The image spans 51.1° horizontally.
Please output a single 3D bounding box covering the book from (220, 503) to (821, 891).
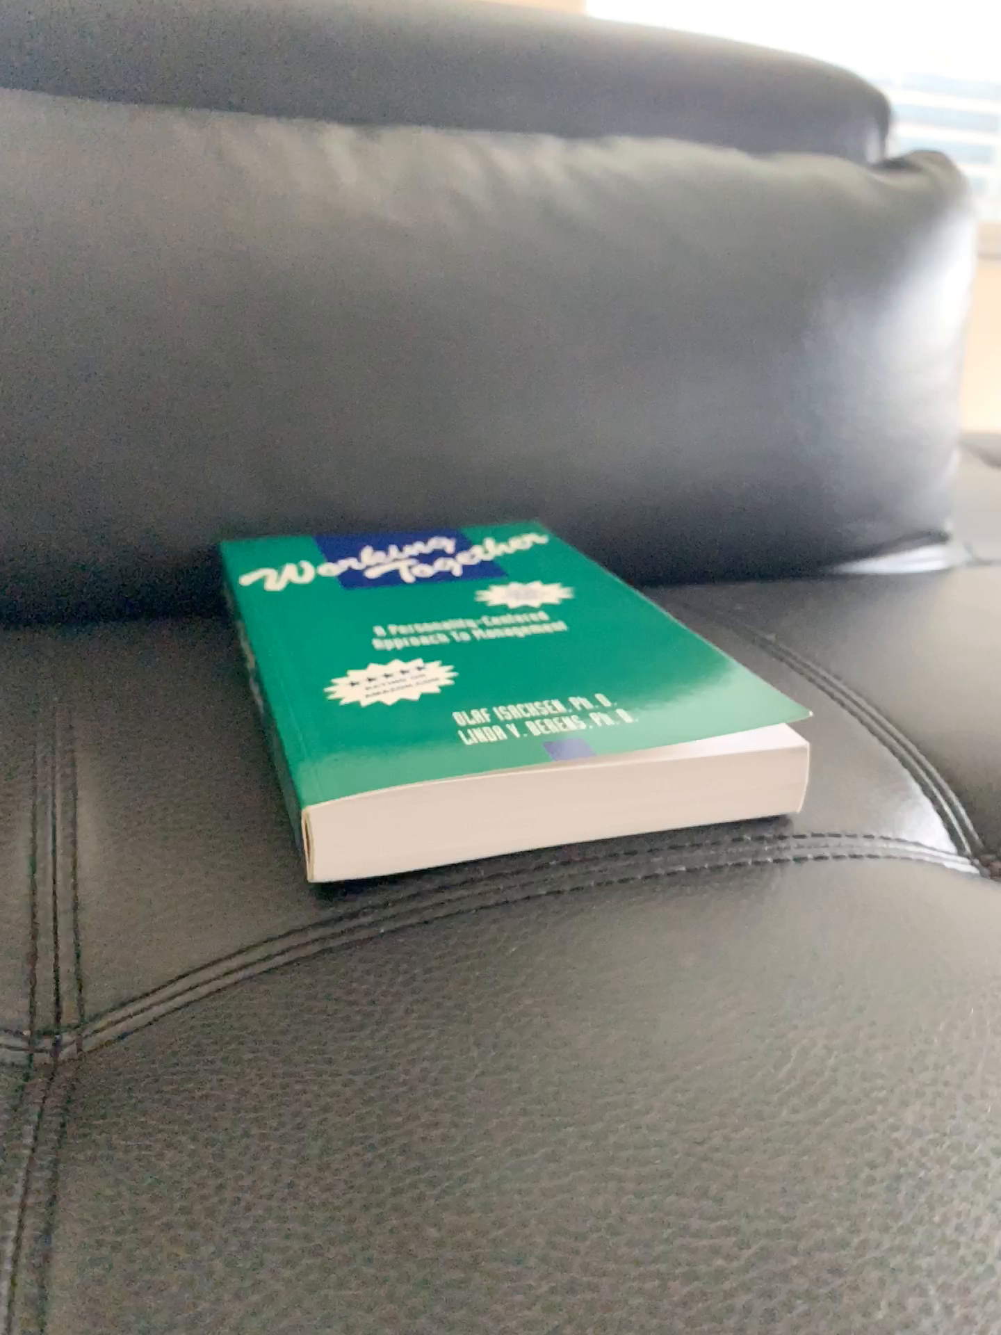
[{"bbox_3d":[-0.015,-0.010,0.356,0.137,0.033,0.217,-4,25,-18],"label":"book"}]
